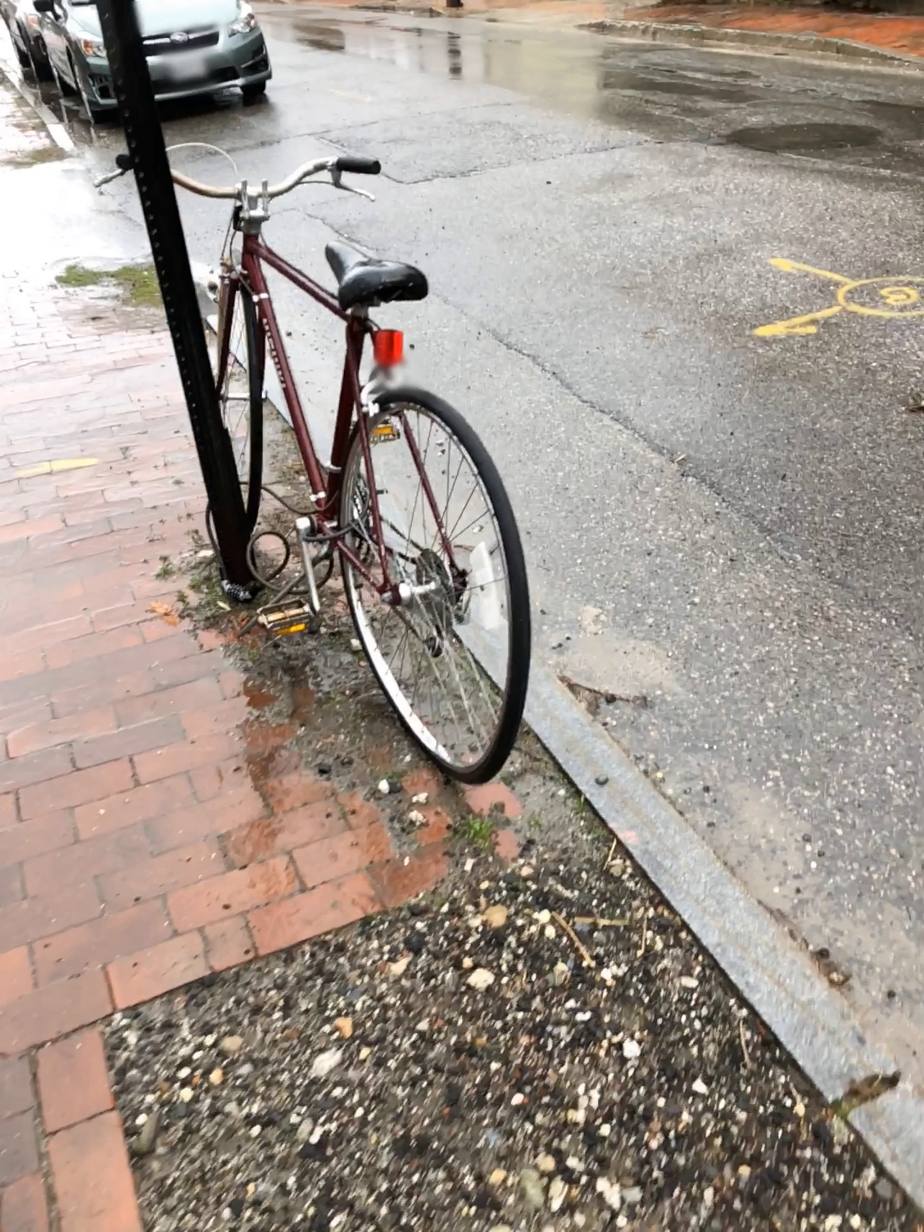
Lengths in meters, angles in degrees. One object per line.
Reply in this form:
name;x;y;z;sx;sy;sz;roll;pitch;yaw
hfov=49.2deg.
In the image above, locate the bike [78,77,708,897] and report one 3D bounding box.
bike;-0.256;-0.435;1.994;0.500;0.907;1.614;-17;38;-21
